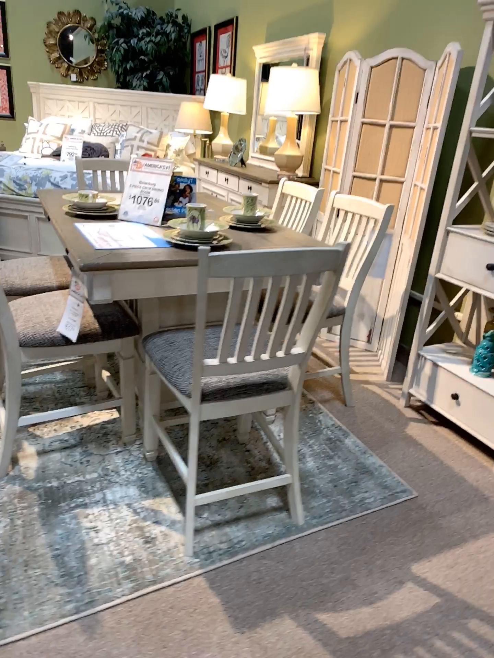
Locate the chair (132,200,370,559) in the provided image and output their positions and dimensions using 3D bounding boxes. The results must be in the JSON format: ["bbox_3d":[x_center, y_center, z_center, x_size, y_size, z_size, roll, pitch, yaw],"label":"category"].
[{"bbox_3d":[-0.063,0.109,1.633,0.490,0.926,0.592,-5,24,-24],"label":"chair"}]
